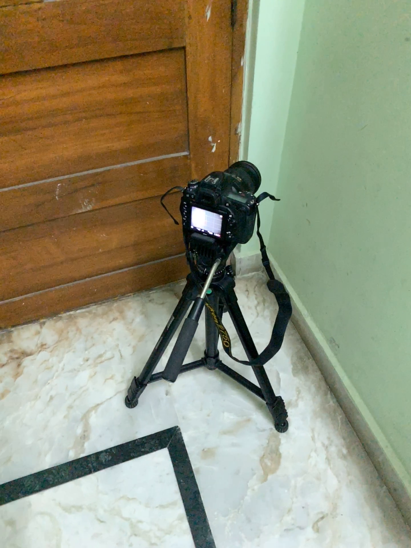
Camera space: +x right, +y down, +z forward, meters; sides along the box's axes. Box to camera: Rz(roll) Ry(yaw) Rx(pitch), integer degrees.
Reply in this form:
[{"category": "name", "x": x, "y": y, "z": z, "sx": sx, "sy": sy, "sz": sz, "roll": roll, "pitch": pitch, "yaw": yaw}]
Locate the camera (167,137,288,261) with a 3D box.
[{"category": "camera", "x": 0.048, "y": -0.159, "z": 0.853, "sx": 0.175, "sy": 0.128, "sz": 0.190, "roll": 18, "pitch": 51, "yaw": 16}]
